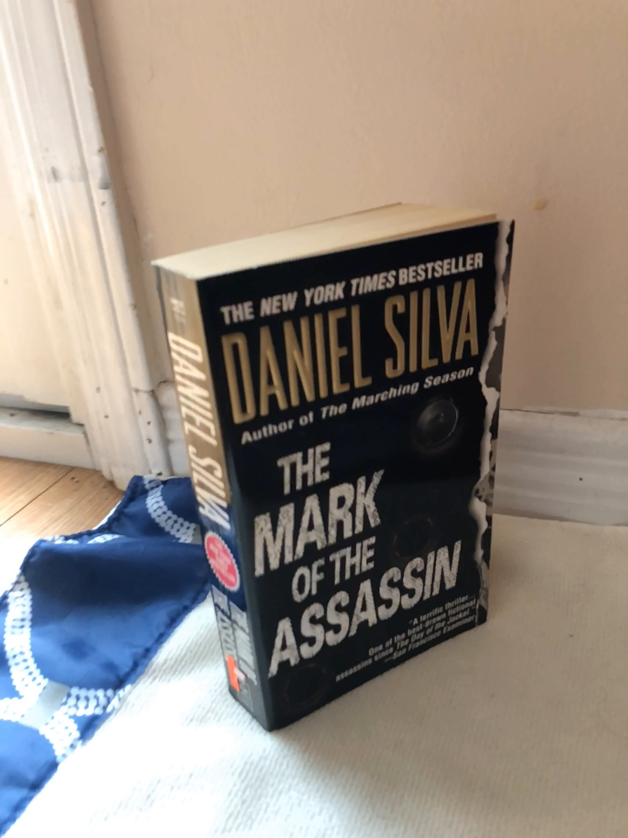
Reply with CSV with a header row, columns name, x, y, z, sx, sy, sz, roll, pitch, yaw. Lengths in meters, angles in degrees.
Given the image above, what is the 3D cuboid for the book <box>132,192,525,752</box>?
name,x,y,z,sx,sy,sz,roll,pitch,yaw
book,0.015,0.015,0.253,0.119,0.169,0.045,-19,28,-27
